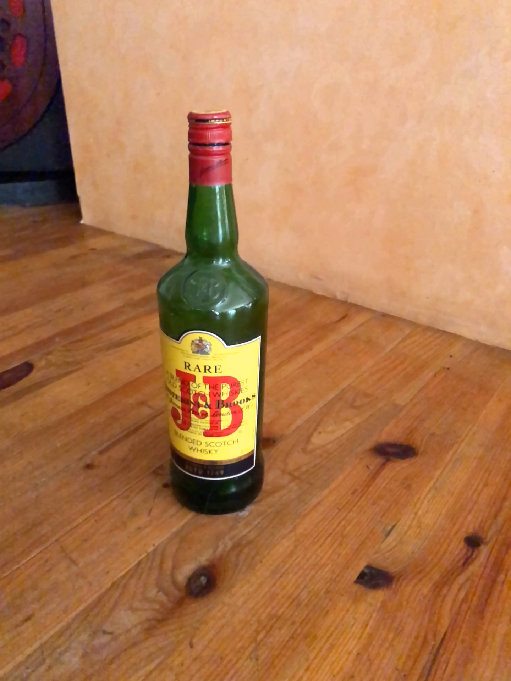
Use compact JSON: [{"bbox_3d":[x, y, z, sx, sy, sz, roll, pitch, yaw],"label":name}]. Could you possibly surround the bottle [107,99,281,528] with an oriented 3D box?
[{"bbox_3d":[-0.036,-0.010,0.436,0.090,0.318,0.081,7,28,12],"label":"bottle"}]
